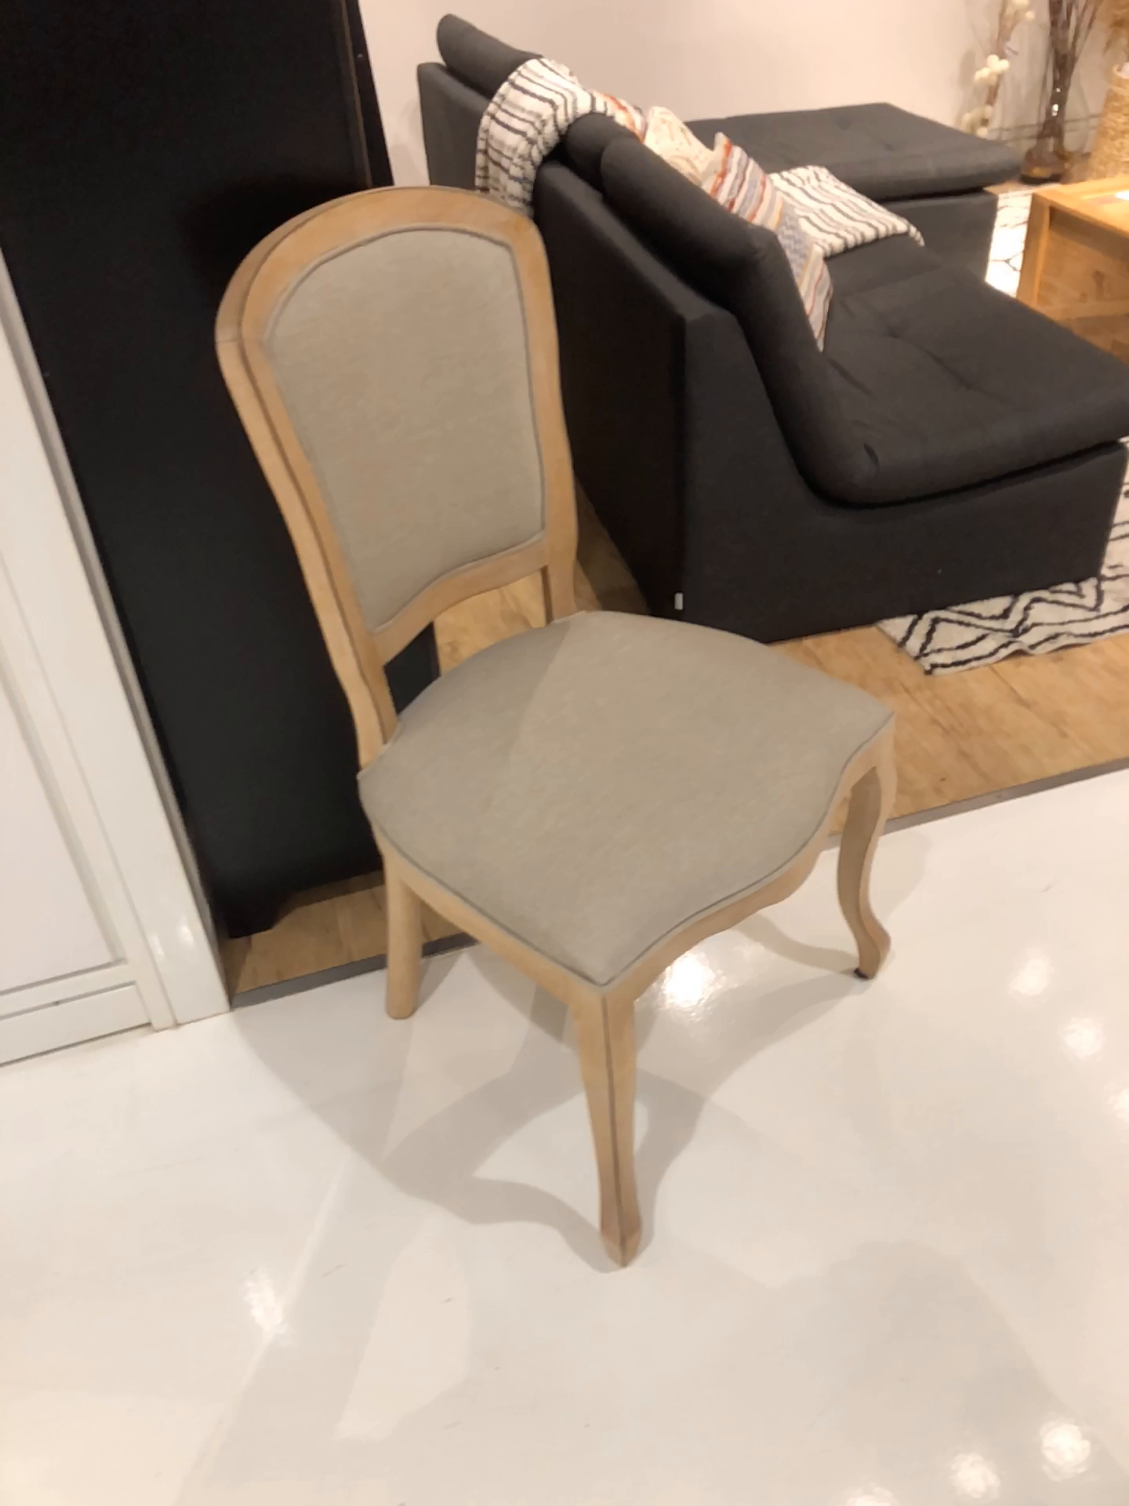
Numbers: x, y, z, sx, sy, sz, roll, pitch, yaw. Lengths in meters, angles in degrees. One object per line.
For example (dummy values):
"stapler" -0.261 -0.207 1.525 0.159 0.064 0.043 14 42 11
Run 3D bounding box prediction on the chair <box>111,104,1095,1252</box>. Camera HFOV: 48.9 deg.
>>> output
"chair" 0.066 -0.102 1.285 0.551 0.873 0.603 26 47 32
